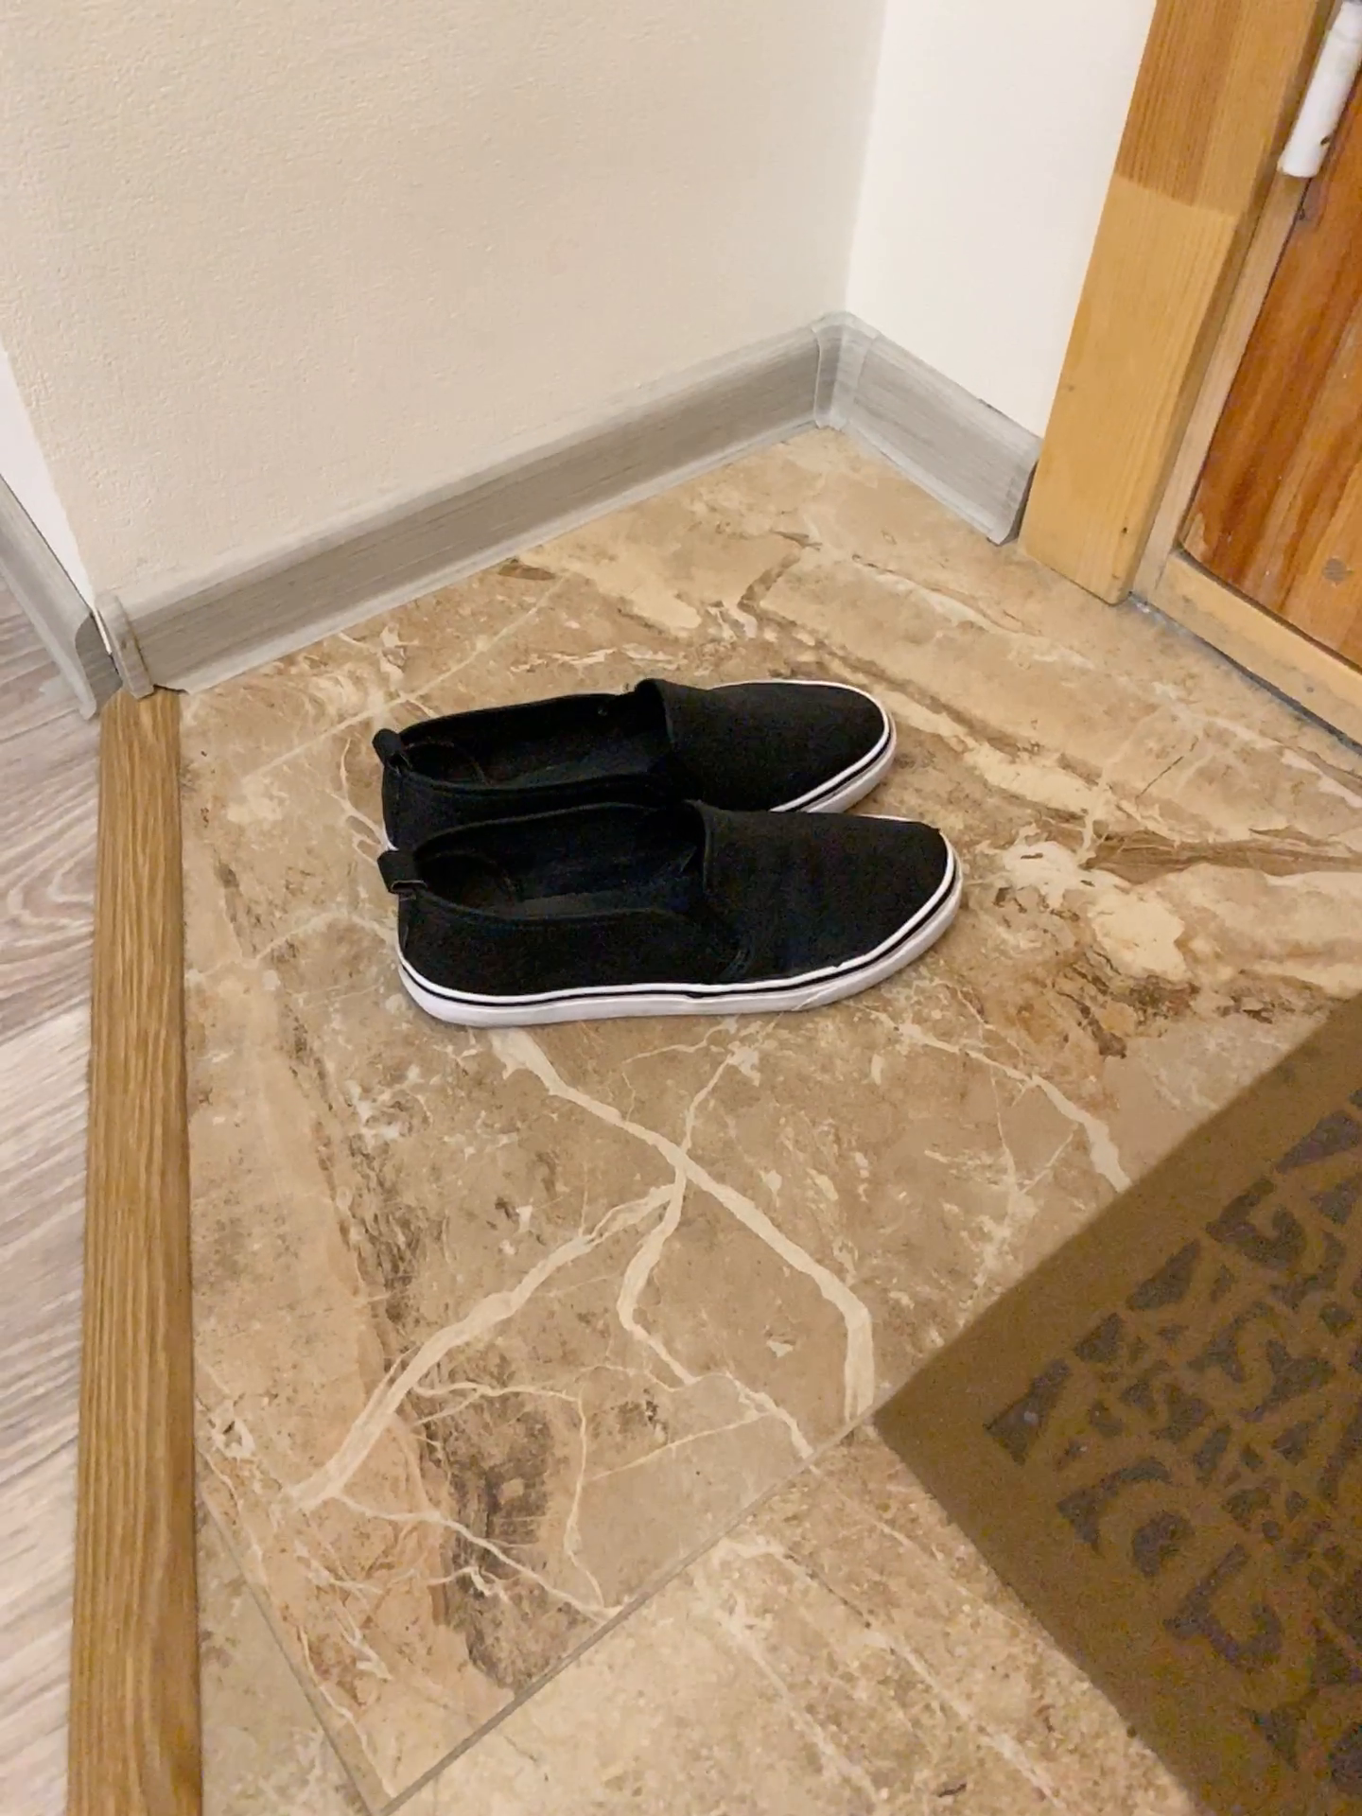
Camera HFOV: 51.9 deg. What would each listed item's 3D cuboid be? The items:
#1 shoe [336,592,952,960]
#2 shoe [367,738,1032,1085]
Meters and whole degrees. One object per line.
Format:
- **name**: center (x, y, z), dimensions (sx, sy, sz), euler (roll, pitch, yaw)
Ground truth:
- **shoe**: center (-0.015, -0.064, 0.626), dimensions (0.250, 0.060, 0.090), euler (-17, 53, -16)
- **shoe**: center (0.005, -0.002, 0.577), dimensions (0.250, 0.060, 0.090), euler (-9, 51, -10)
